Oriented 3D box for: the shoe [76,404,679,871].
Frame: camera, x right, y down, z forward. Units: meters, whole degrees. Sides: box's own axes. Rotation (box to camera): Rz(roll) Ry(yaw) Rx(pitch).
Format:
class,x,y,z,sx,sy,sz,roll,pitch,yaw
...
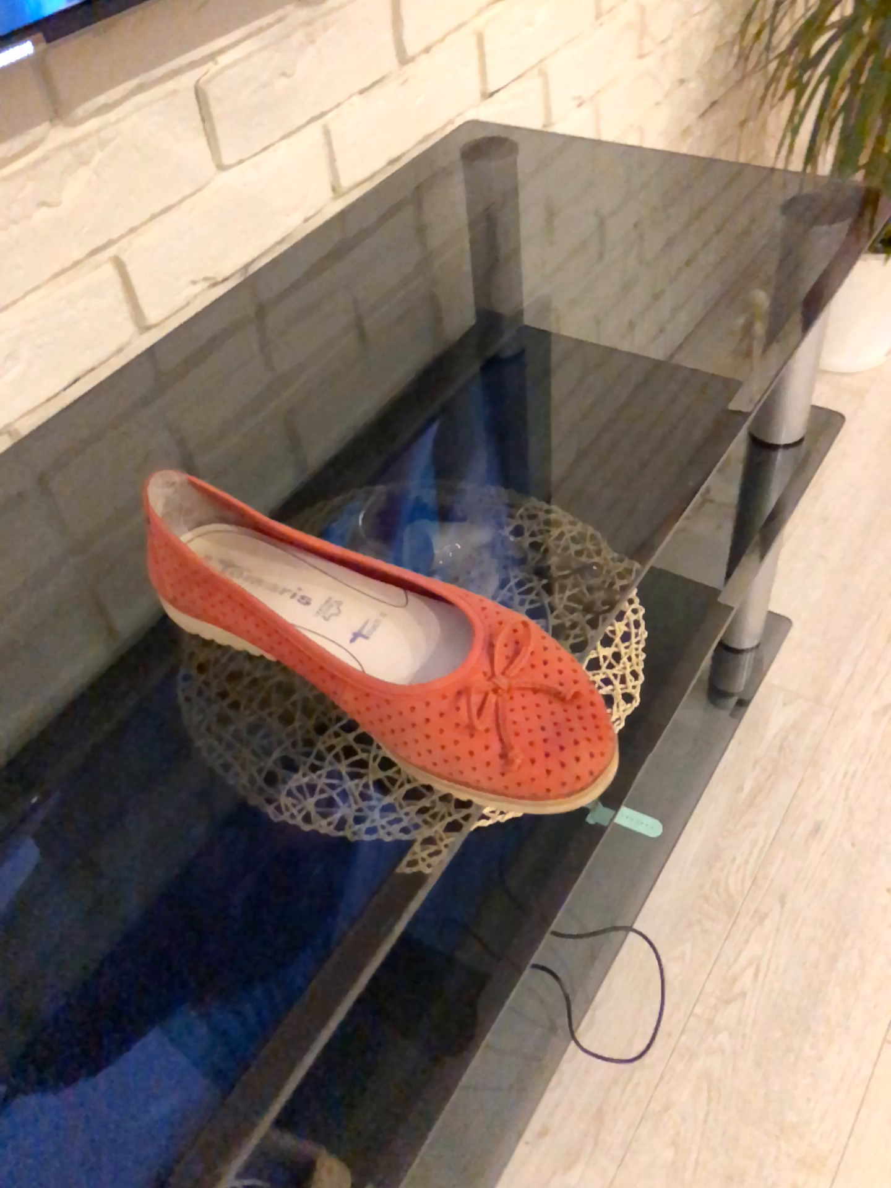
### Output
class,x,y,z,sx,sy,sz,roll,pitch,yaw
shoe,-0.034,0.006,0.429,0.248,0.079,0.090,24,53,28
